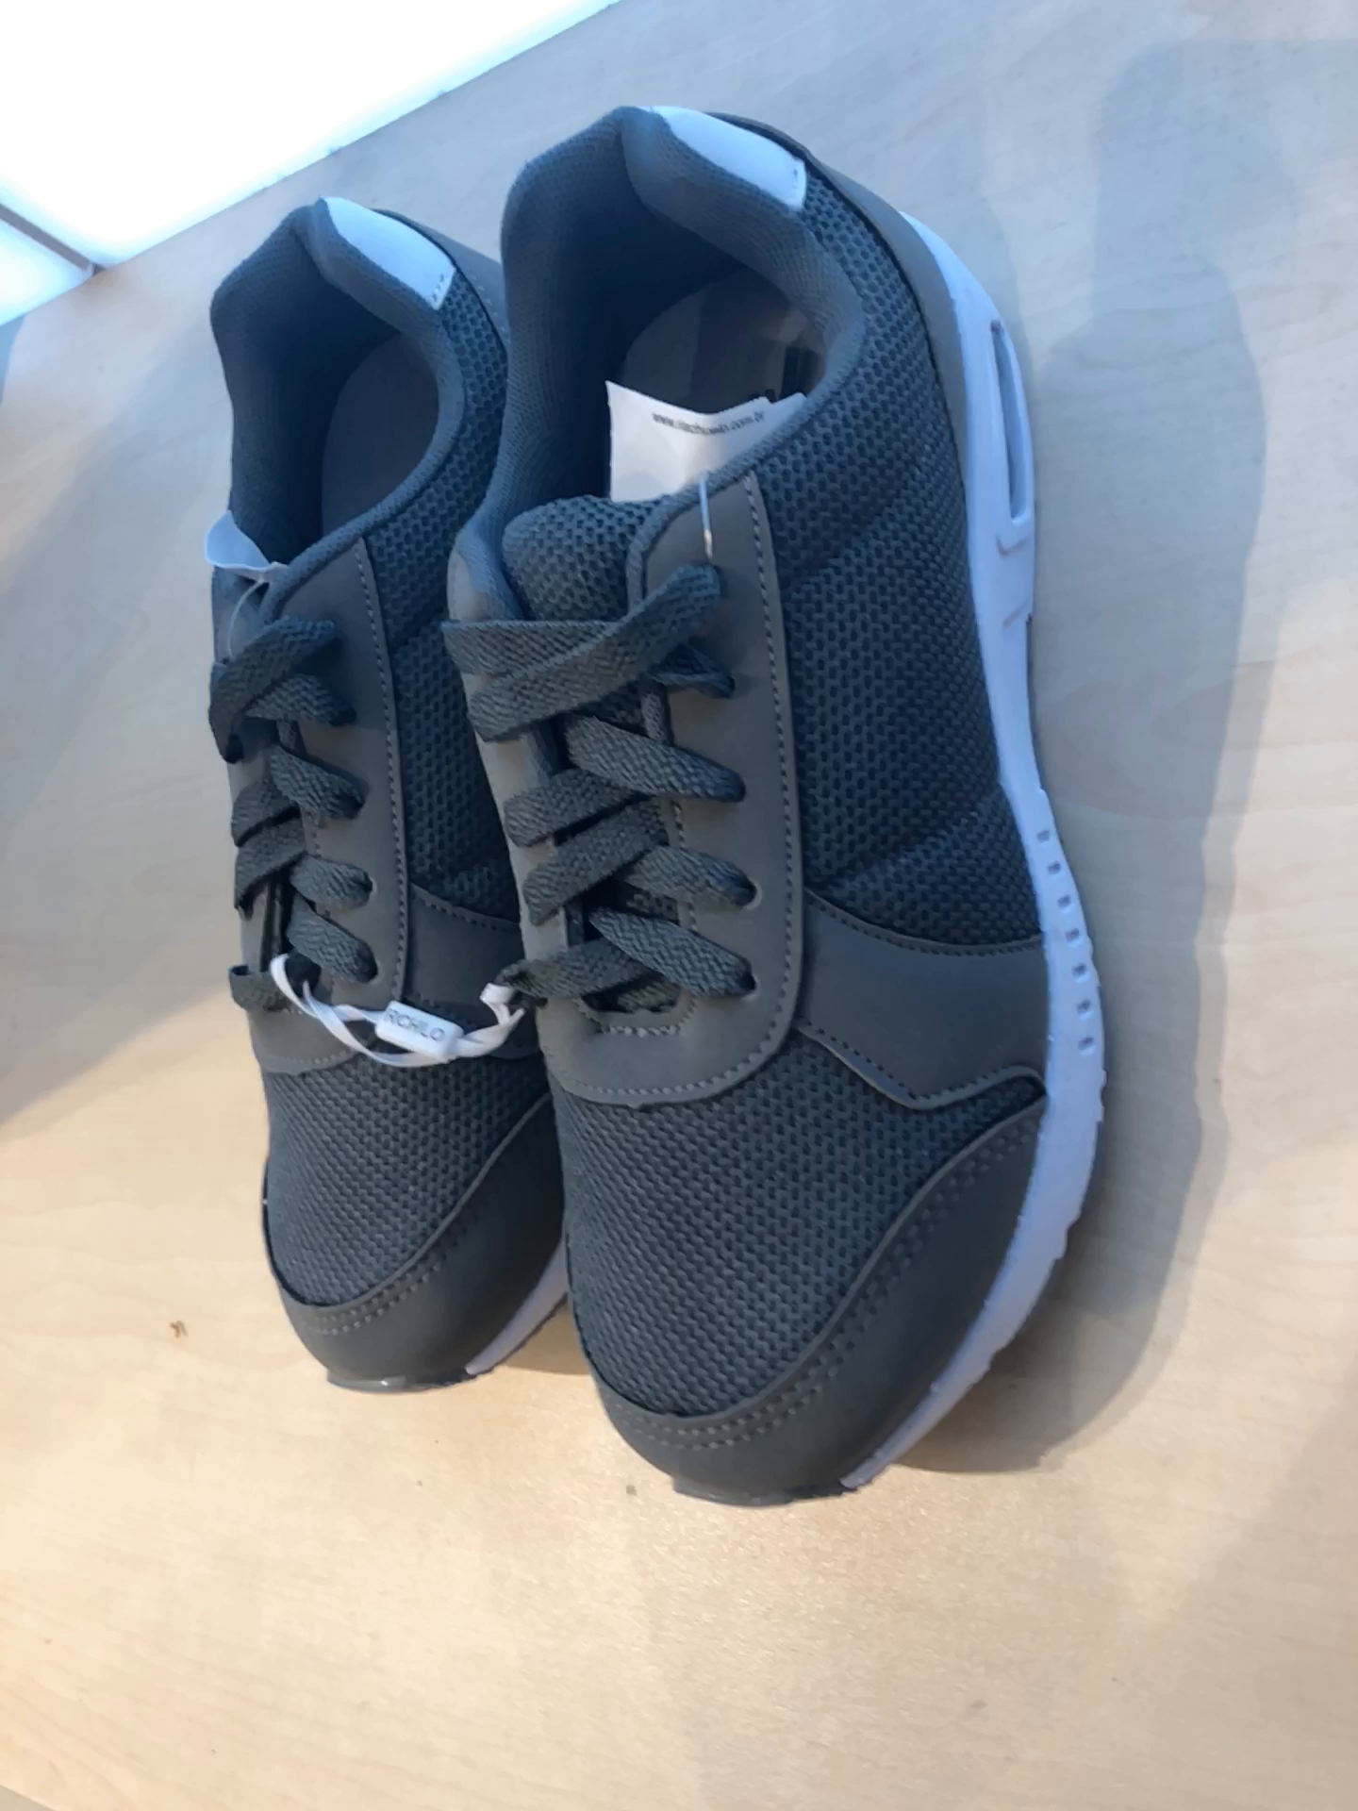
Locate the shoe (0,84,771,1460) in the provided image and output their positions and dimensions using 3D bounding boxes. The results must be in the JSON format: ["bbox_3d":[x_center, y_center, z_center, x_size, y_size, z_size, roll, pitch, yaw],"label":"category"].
[{"bbox_3d":[-0.054,-0.018,0.311,0.100,0.100,0.230,-6,75,35],"label":"shoe"}]

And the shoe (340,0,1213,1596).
[{"bbox_3d":[0.020,-0.023,0.267,0.100,0.100,0.240,-9,74,34],"label":"shoe"}]
